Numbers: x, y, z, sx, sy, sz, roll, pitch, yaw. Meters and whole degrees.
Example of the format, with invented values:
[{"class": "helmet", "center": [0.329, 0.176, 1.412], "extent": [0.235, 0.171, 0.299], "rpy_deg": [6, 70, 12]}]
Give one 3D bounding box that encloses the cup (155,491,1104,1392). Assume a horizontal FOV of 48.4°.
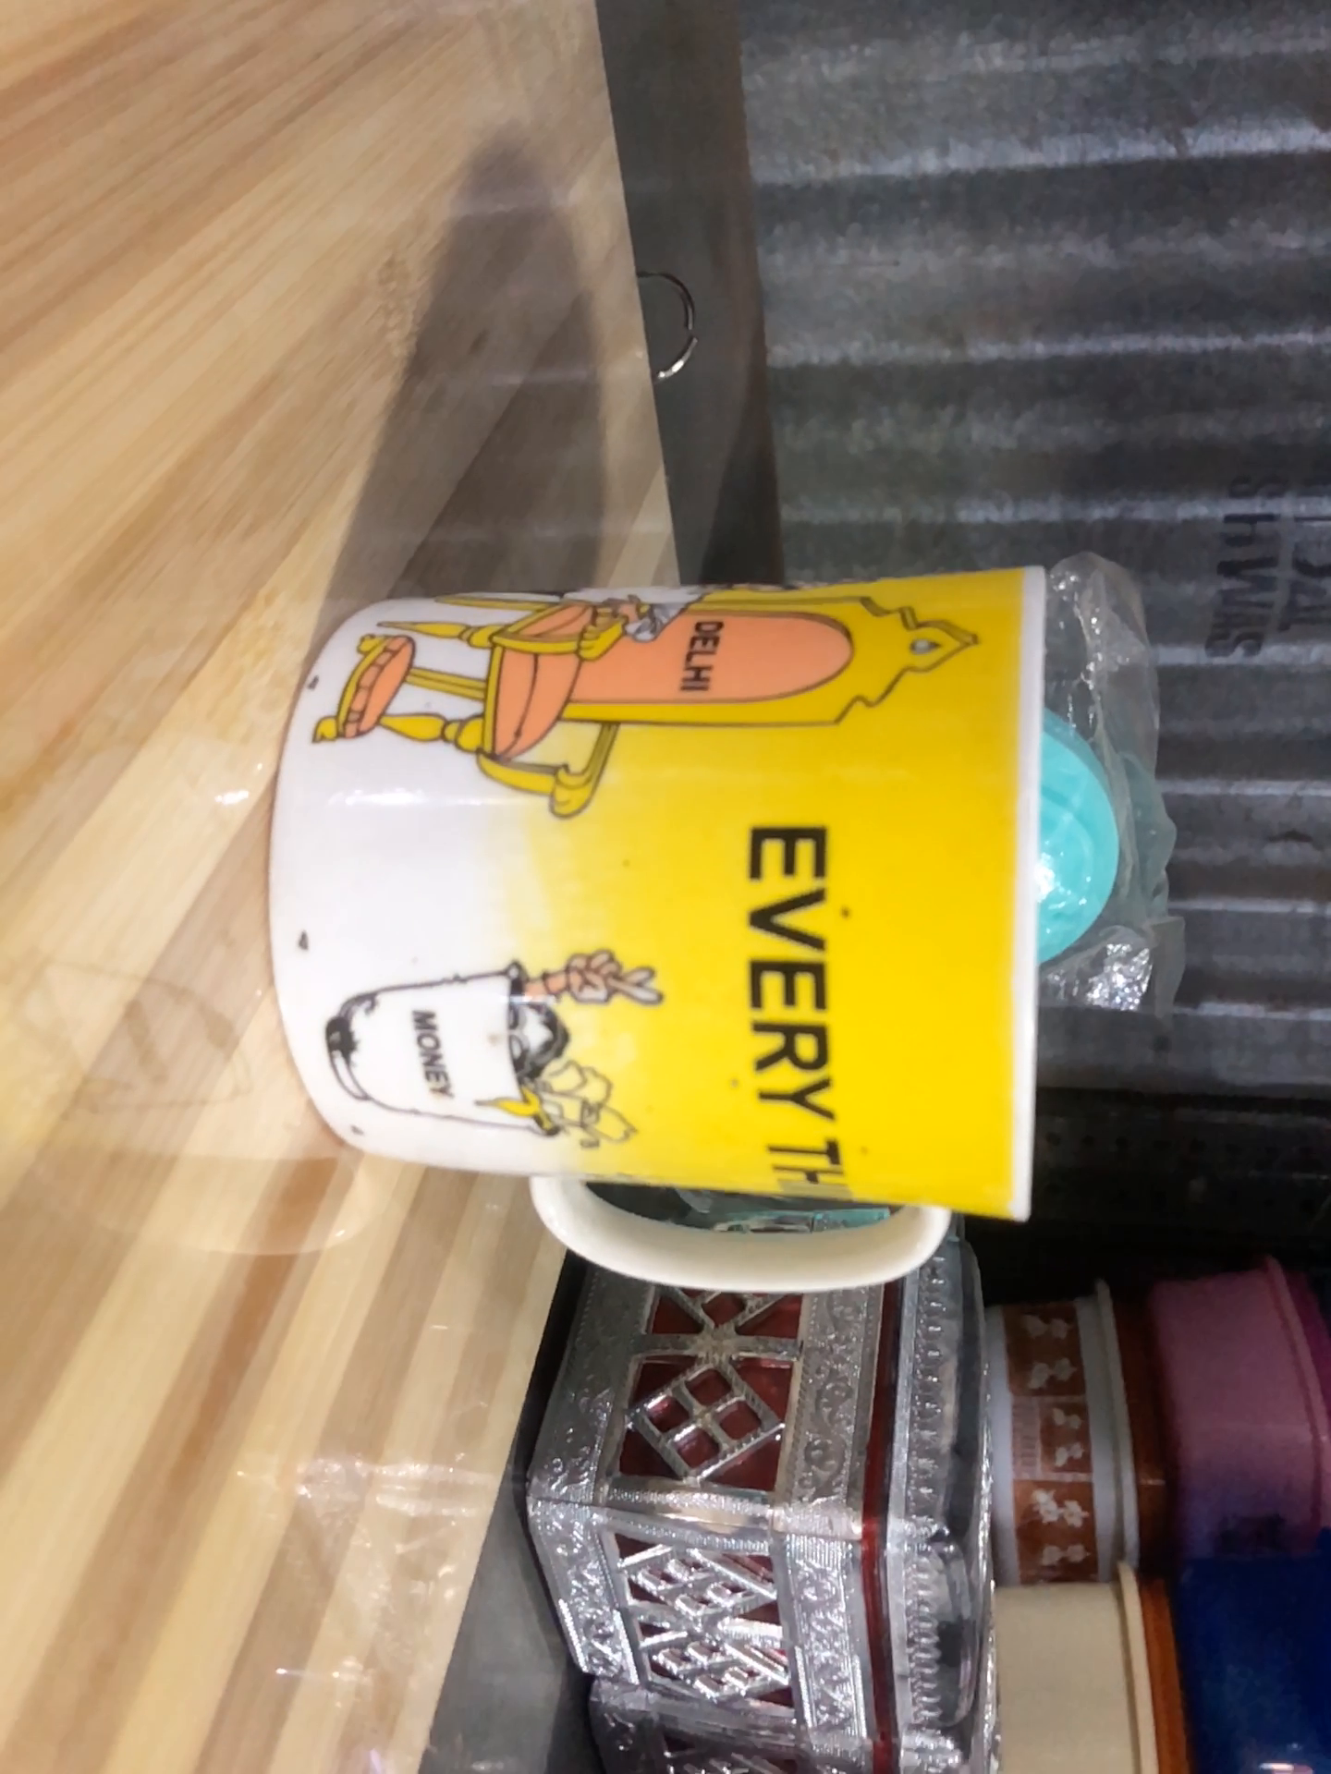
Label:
[{"class": "cup", "center": [0.007, 0.012, 0.215], "extent": [0.110, 0.100, 0.070], "rpy_deg": [78, 17, -46]}]
